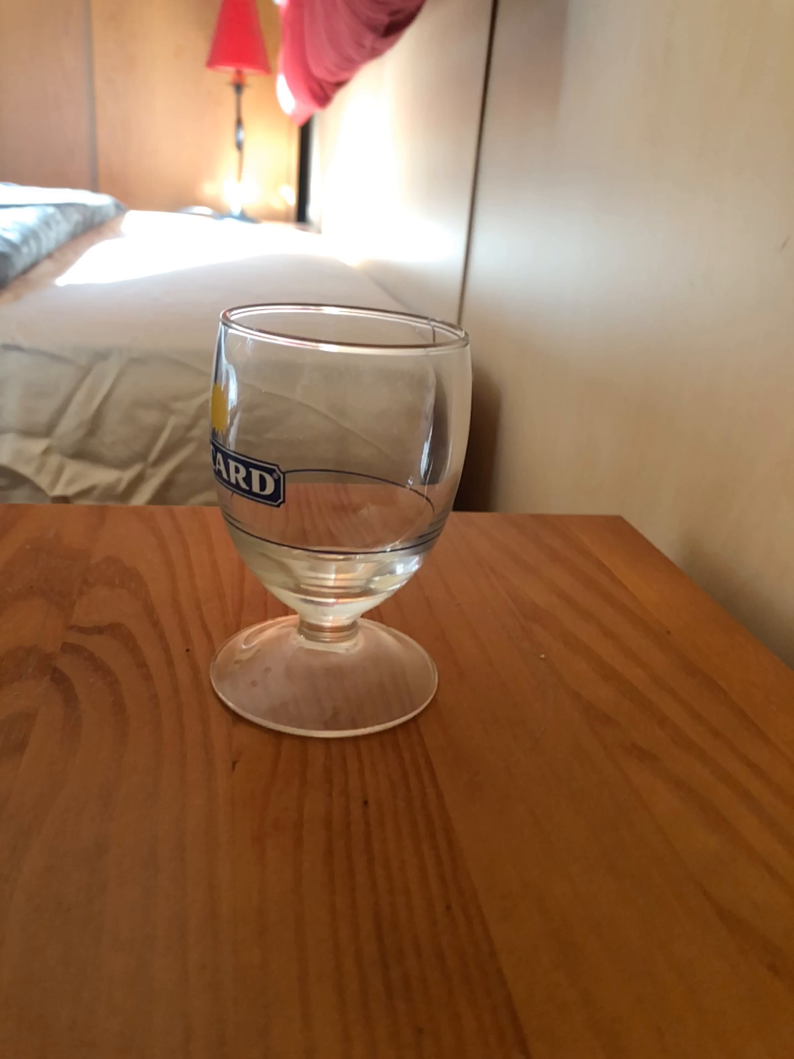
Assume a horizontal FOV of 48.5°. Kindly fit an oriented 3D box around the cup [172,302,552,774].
[{"bbox_3d":[-0.015,-0.005,0.234,0.069,0.098,0.069,5,21,-2],"label":"cup"}]
